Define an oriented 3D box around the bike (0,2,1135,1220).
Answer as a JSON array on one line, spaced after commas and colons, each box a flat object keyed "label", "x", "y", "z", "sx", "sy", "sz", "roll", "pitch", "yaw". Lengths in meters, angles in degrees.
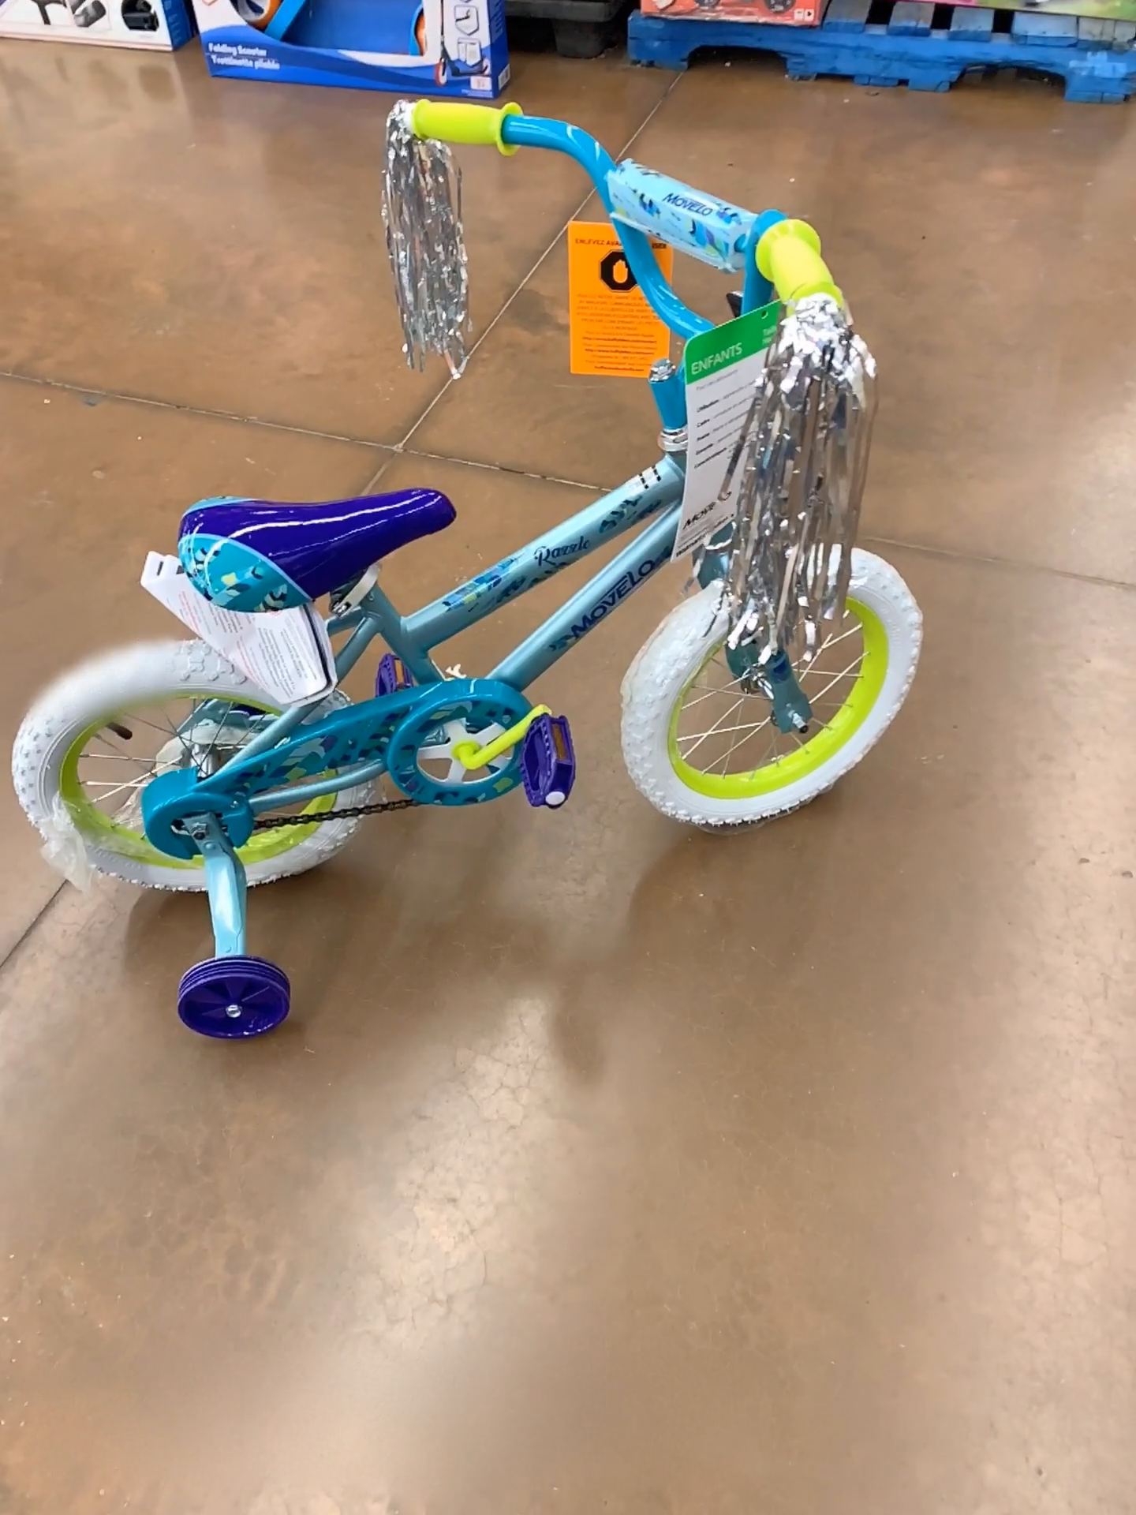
[{"label": "bike", "x": -0.067, "y": -0.145, "z": 0.982, "sx": 0.859, "sy": 0.639, "sz": 0.625, "roll": -13, "pitch": 49, "yaw": -10}]
